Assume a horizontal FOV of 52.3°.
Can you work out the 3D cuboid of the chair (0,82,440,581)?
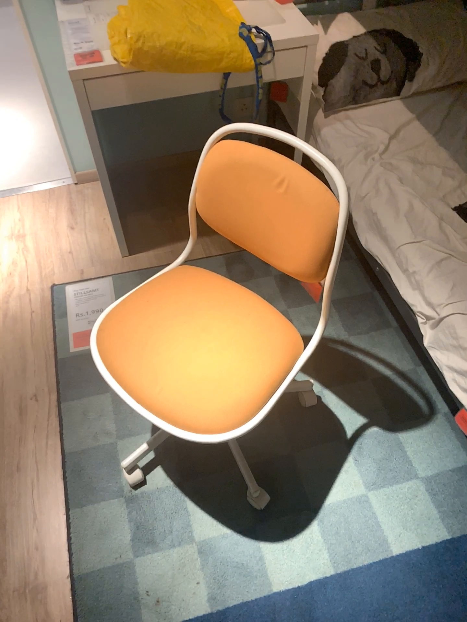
[{"bbox_3d":[-0.094,0.059,1.080,0.611,0.708,0.651,38,63,25],"label":"chair"}]
